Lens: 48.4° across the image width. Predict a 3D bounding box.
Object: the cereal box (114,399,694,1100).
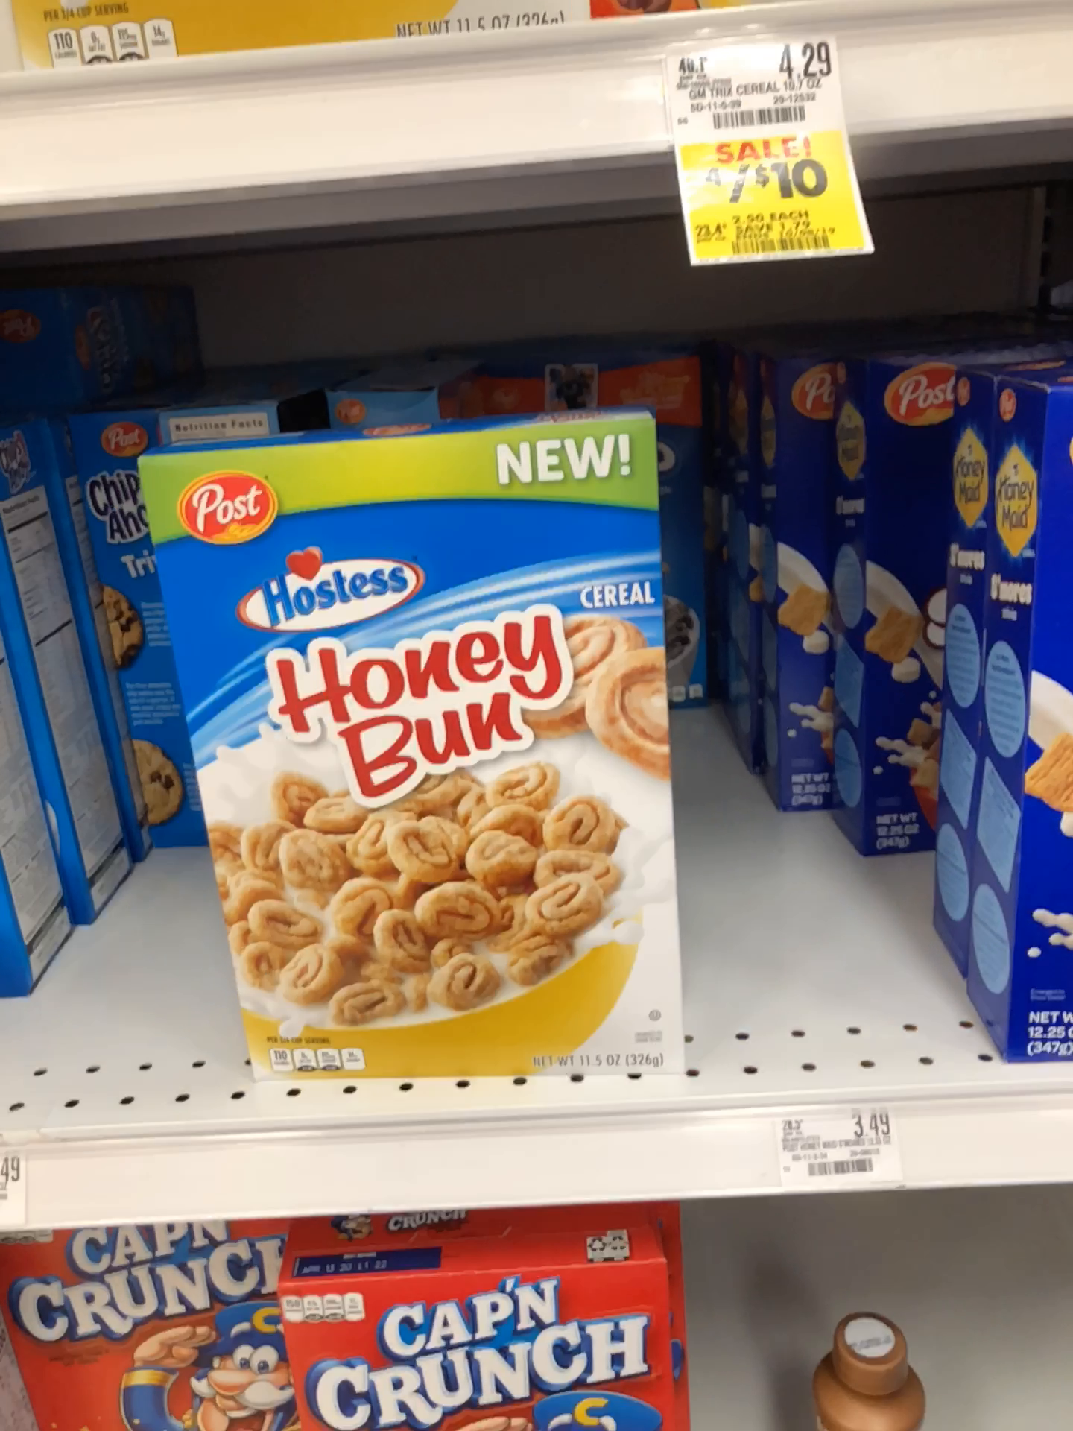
[{"bbox_3d":[-0.044,0.020,0.521,0.210,0.289,0.070,-3,17,5],"label":"cereal box"}]
